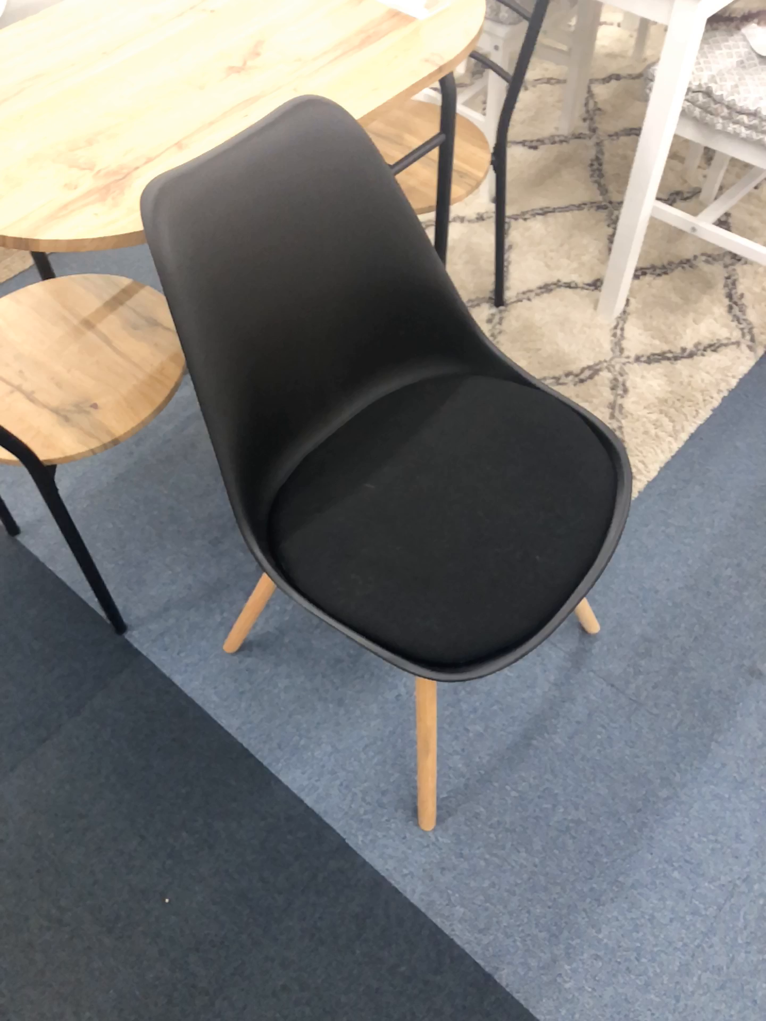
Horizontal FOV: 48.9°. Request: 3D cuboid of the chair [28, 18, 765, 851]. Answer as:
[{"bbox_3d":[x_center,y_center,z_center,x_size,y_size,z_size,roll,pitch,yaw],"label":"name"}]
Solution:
[{"bbox_3d":[0.041,-0.024,1.103,0.500,0.858,0.491,36,63,23],"label":"chair"}]
